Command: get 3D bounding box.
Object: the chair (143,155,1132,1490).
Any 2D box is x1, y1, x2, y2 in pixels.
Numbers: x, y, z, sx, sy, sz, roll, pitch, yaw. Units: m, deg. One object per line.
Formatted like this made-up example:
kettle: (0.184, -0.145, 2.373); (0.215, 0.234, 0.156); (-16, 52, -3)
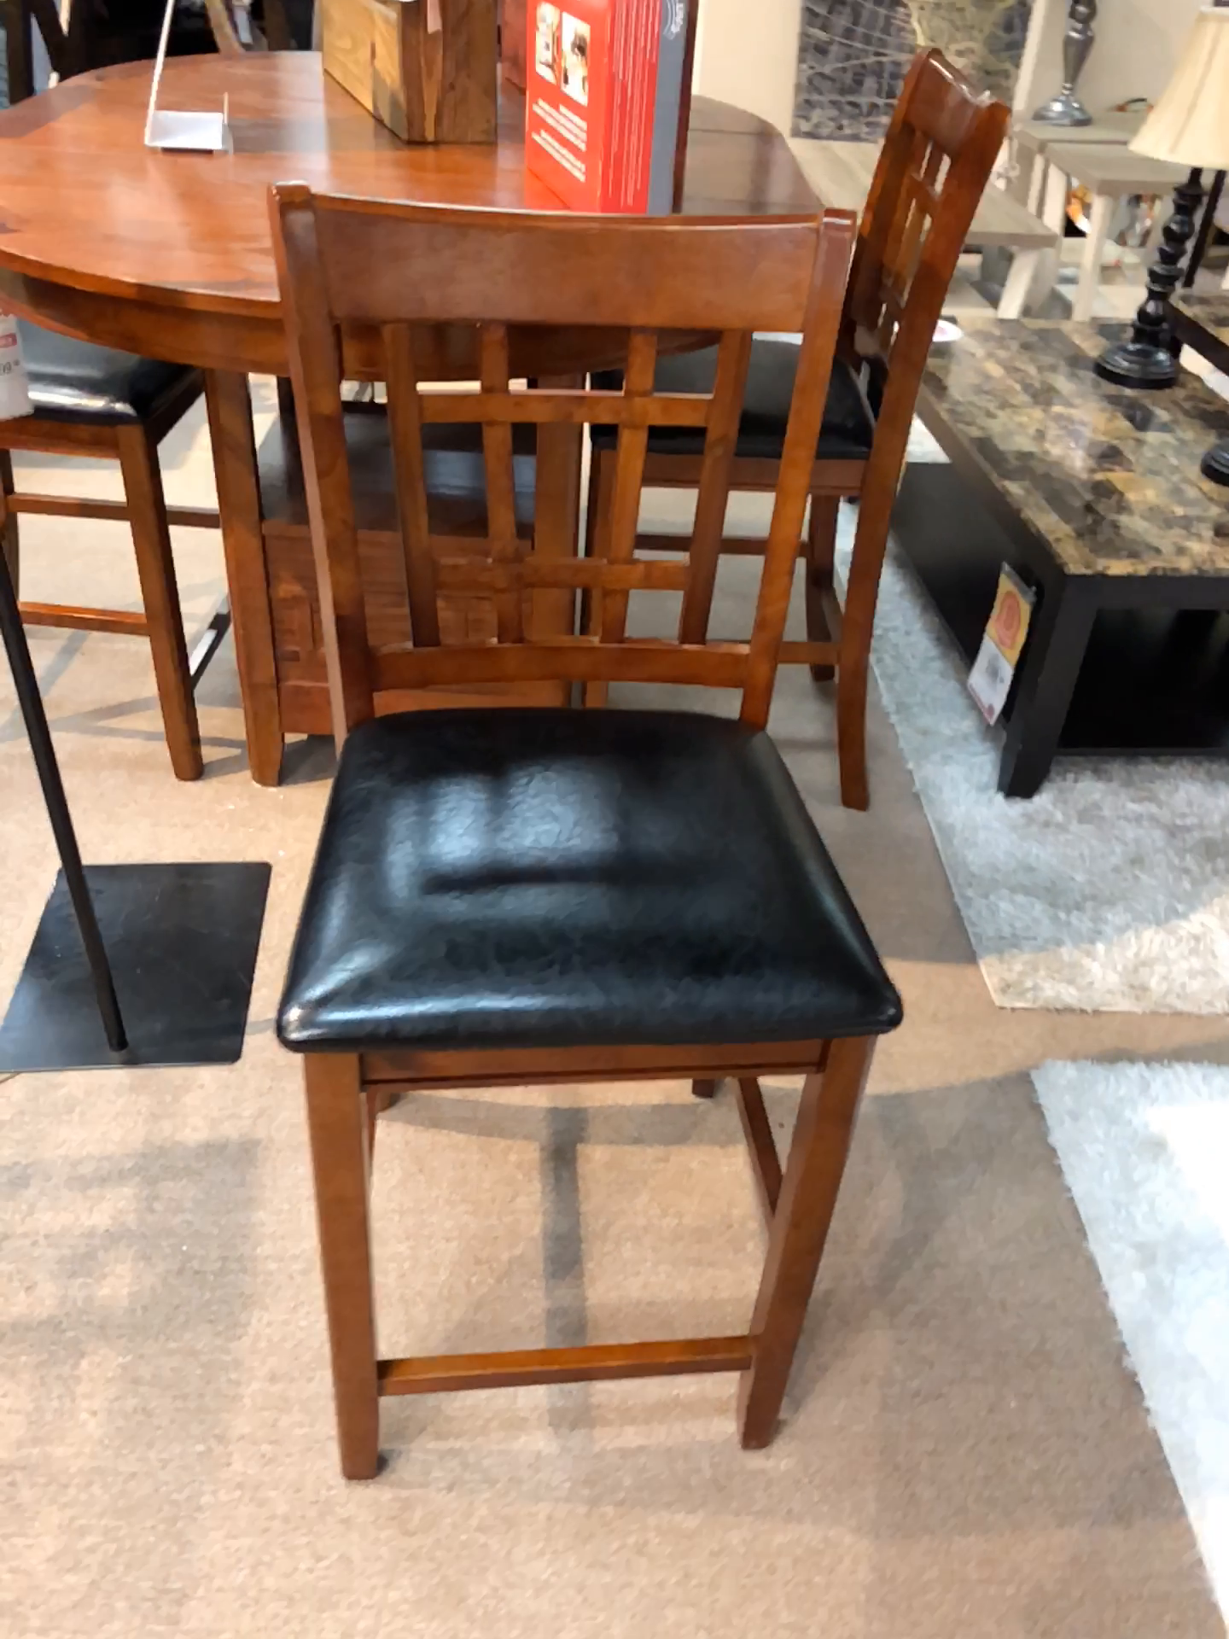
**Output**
chair: (-0.038, 0.037, 1.123); (0.470, 0.963, 0.524); (0, 36, -7)
